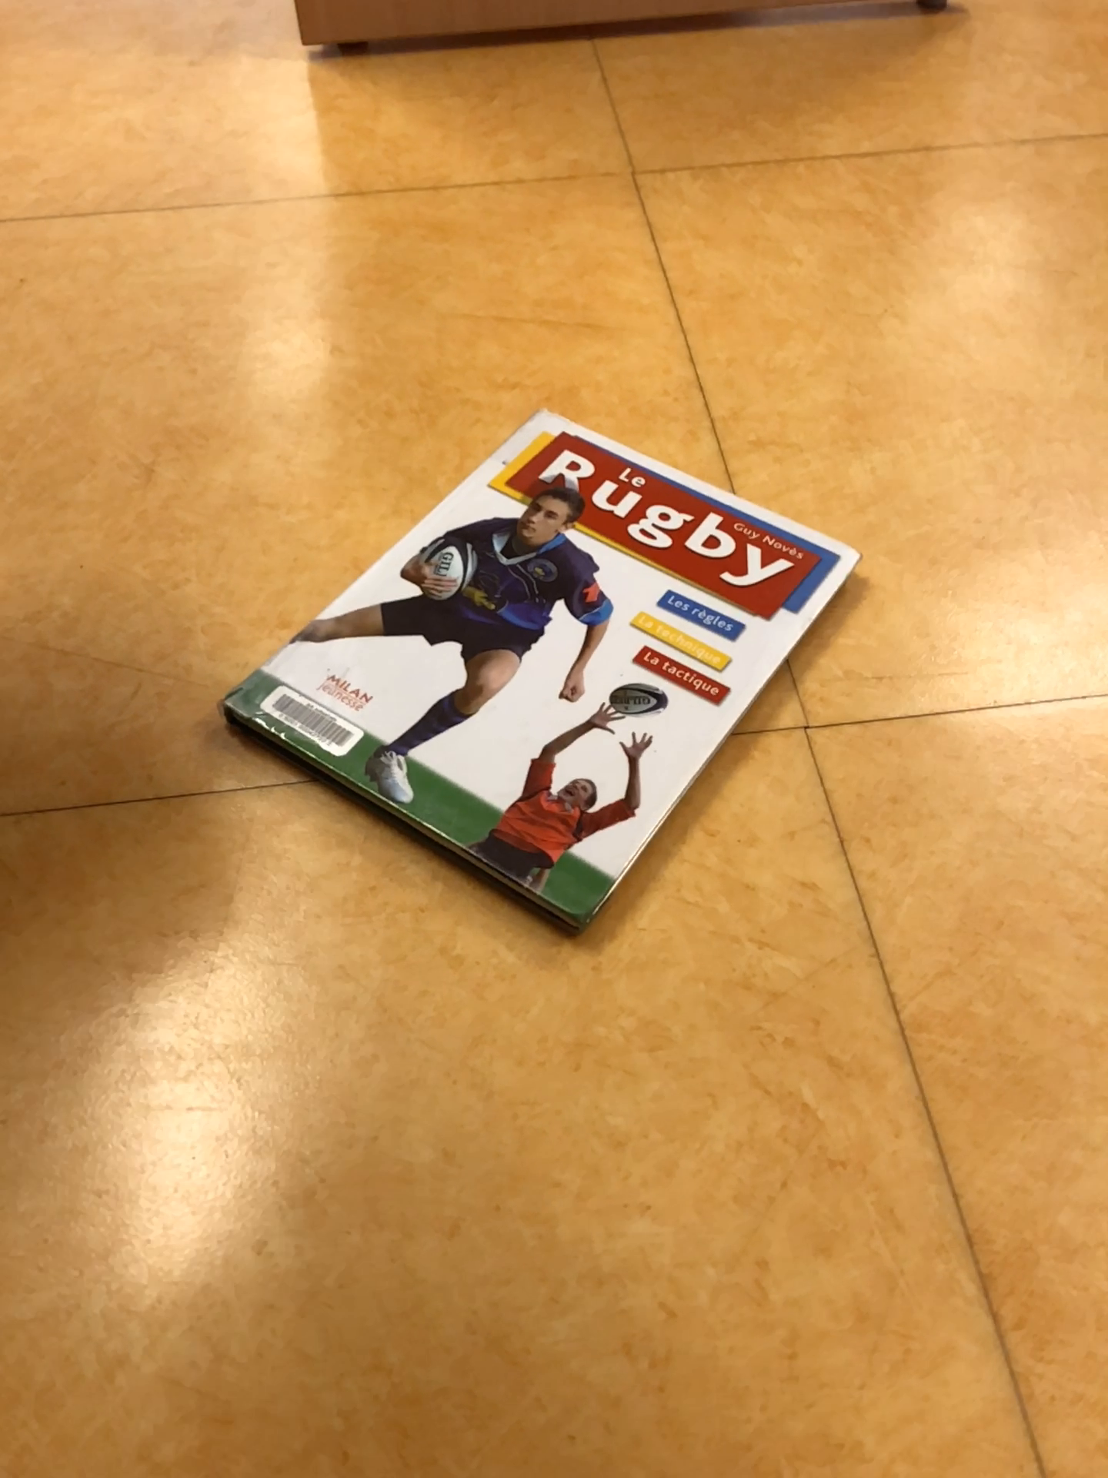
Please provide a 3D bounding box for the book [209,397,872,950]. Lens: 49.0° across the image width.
[{"bbox_3d":[0.002,-0.052,0.590,0.203,0.024,0.261,29,58,20],"label":"book"}]
